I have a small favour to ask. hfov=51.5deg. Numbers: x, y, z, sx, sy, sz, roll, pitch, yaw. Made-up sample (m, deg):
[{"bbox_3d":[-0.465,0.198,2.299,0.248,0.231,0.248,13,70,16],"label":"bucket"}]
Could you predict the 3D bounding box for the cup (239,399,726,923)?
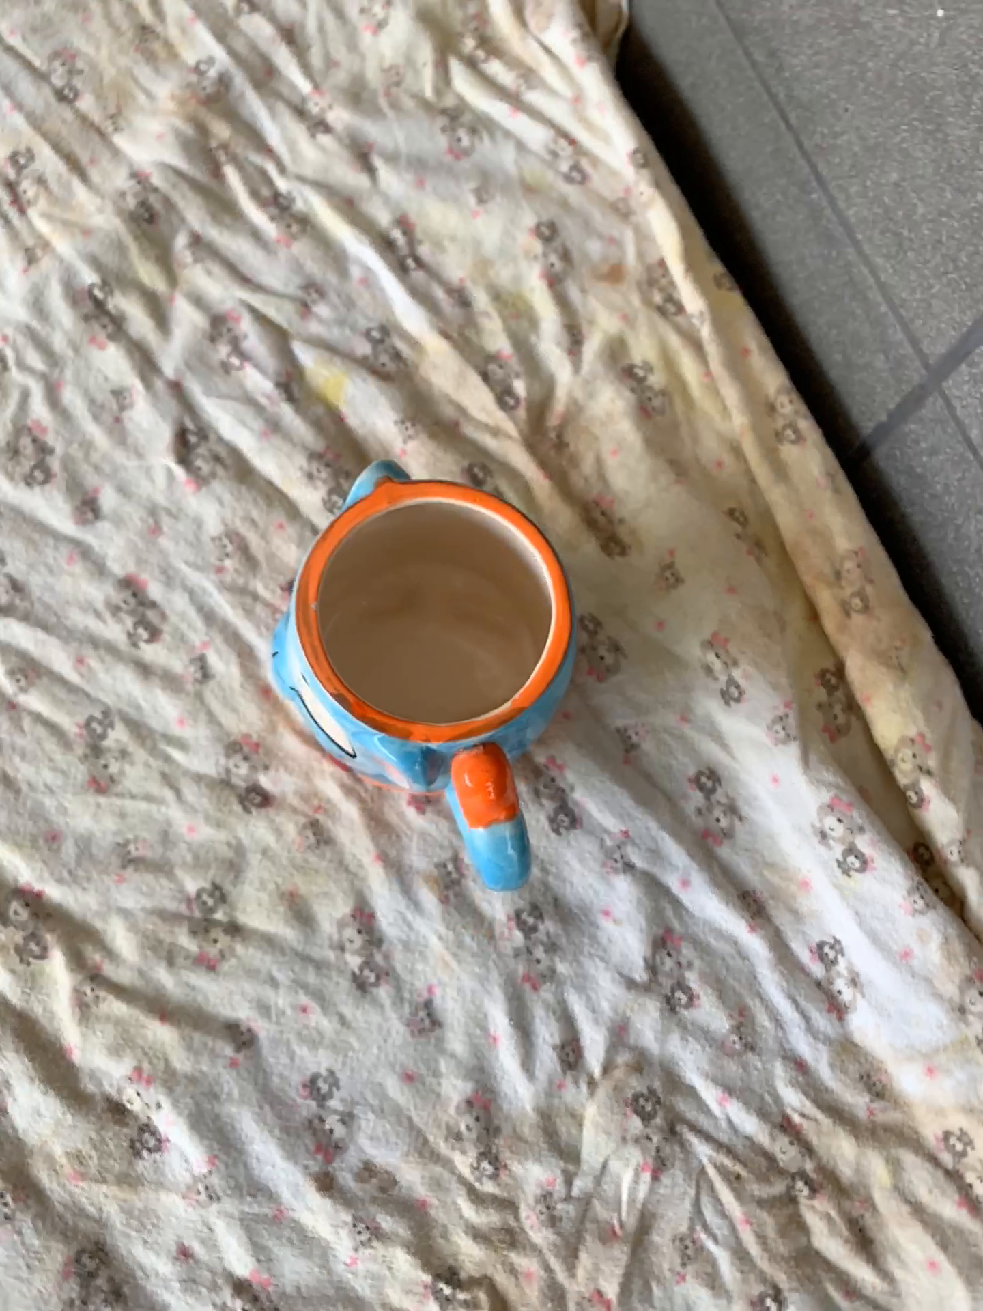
[{"bbox_3d":[-0.008,0.007,0.290,0.090,0.090,0.110,-15,77,-10],"label":"cup"}]
